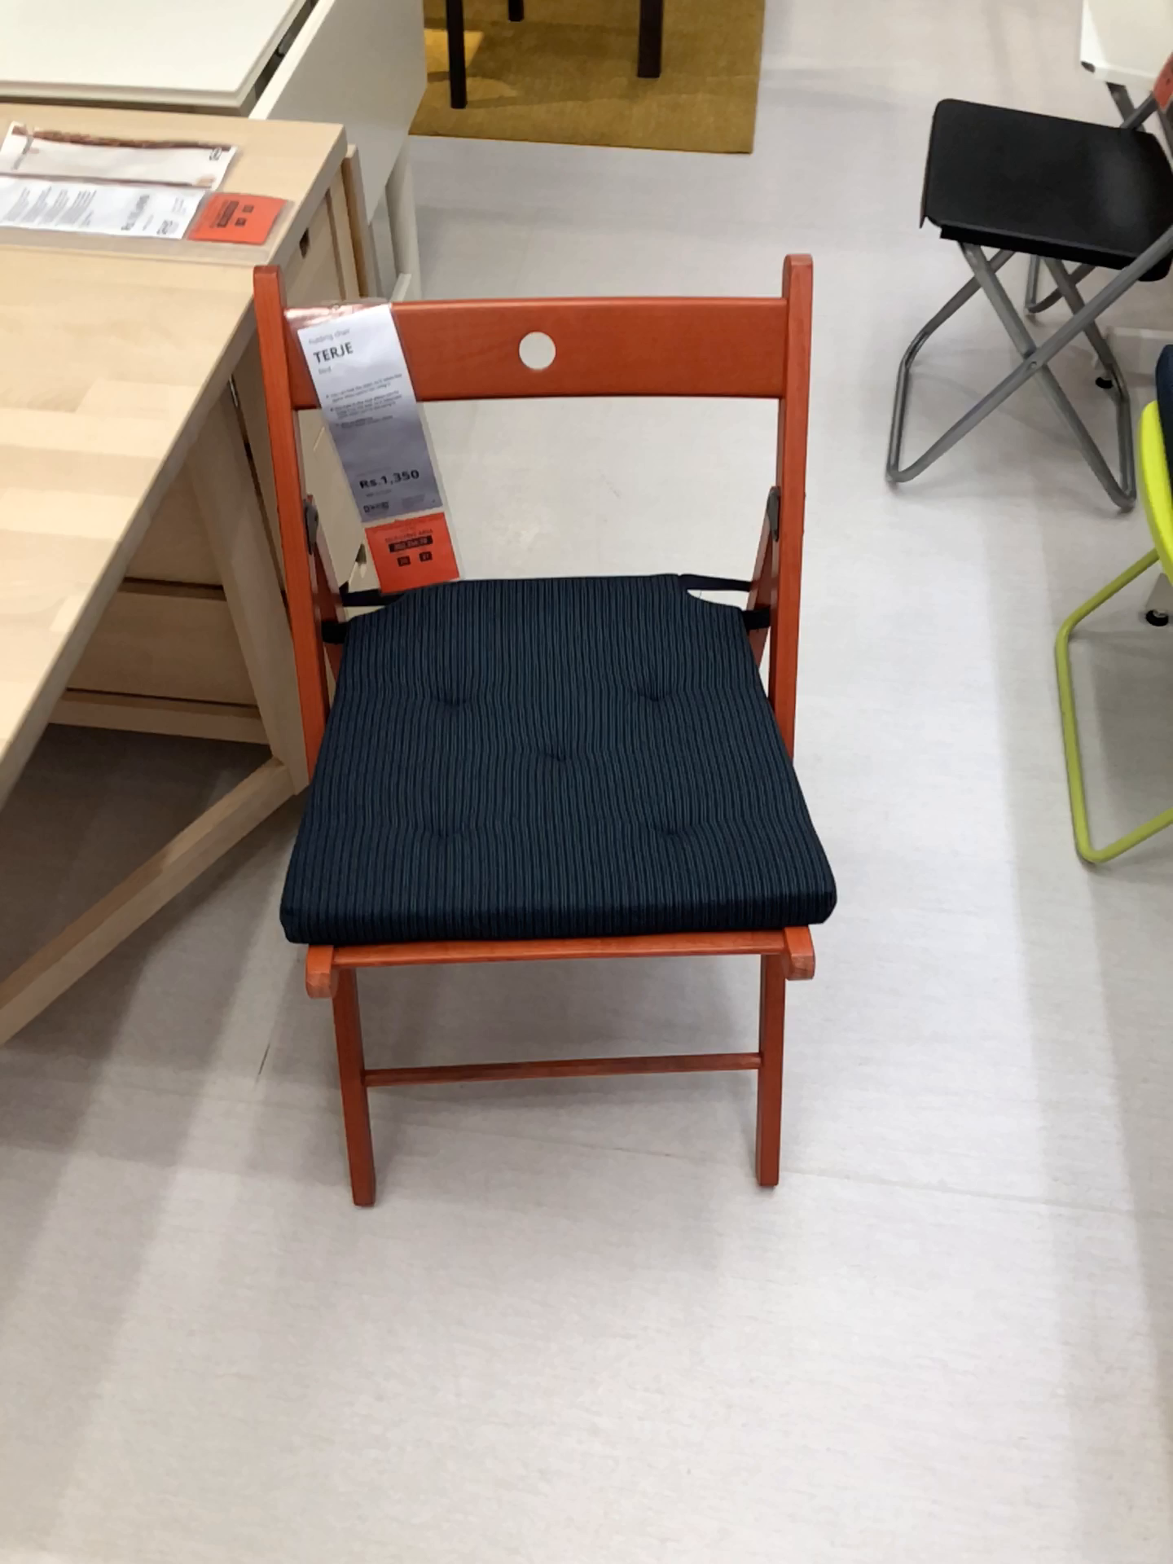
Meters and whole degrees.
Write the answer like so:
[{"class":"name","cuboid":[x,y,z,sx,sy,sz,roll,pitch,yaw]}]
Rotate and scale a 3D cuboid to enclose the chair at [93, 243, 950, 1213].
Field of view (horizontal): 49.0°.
[{"class":"chair","cuboid":[-0.043,-0.005,1.142,0.470,0.716,0.503,-1,51,-1]}]
